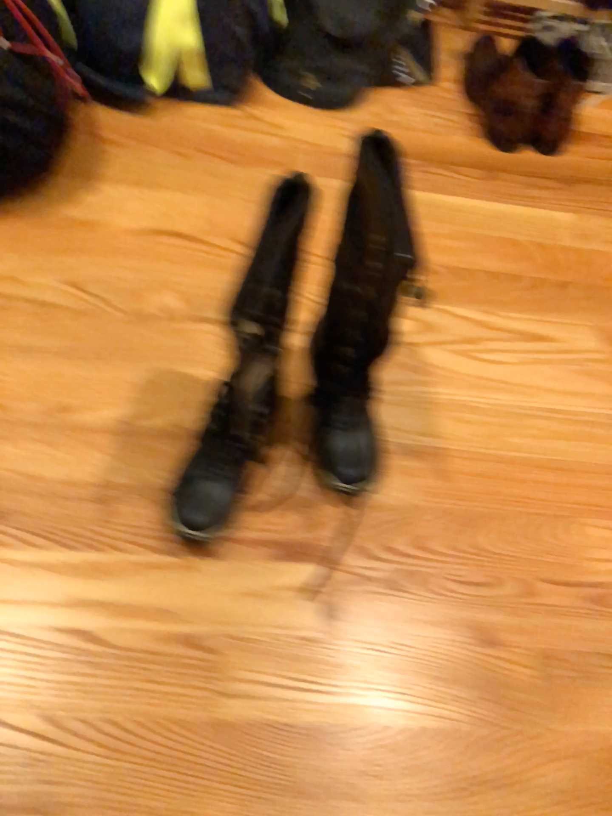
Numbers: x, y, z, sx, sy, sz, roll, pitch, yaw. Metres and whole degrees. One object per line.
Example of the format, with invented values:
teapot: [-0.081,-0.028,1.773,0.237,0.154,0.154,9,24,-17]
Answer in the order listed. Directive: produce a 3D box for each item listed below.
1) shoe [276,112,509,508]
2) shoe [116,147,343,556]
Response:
shoe: [0.059,-0.084,0.715,0.100,0.328,0.261,-4,60,-14]
shoe: [-0.075,-0.039,0.671,0.100,0.309,0.261,19,57,1]
